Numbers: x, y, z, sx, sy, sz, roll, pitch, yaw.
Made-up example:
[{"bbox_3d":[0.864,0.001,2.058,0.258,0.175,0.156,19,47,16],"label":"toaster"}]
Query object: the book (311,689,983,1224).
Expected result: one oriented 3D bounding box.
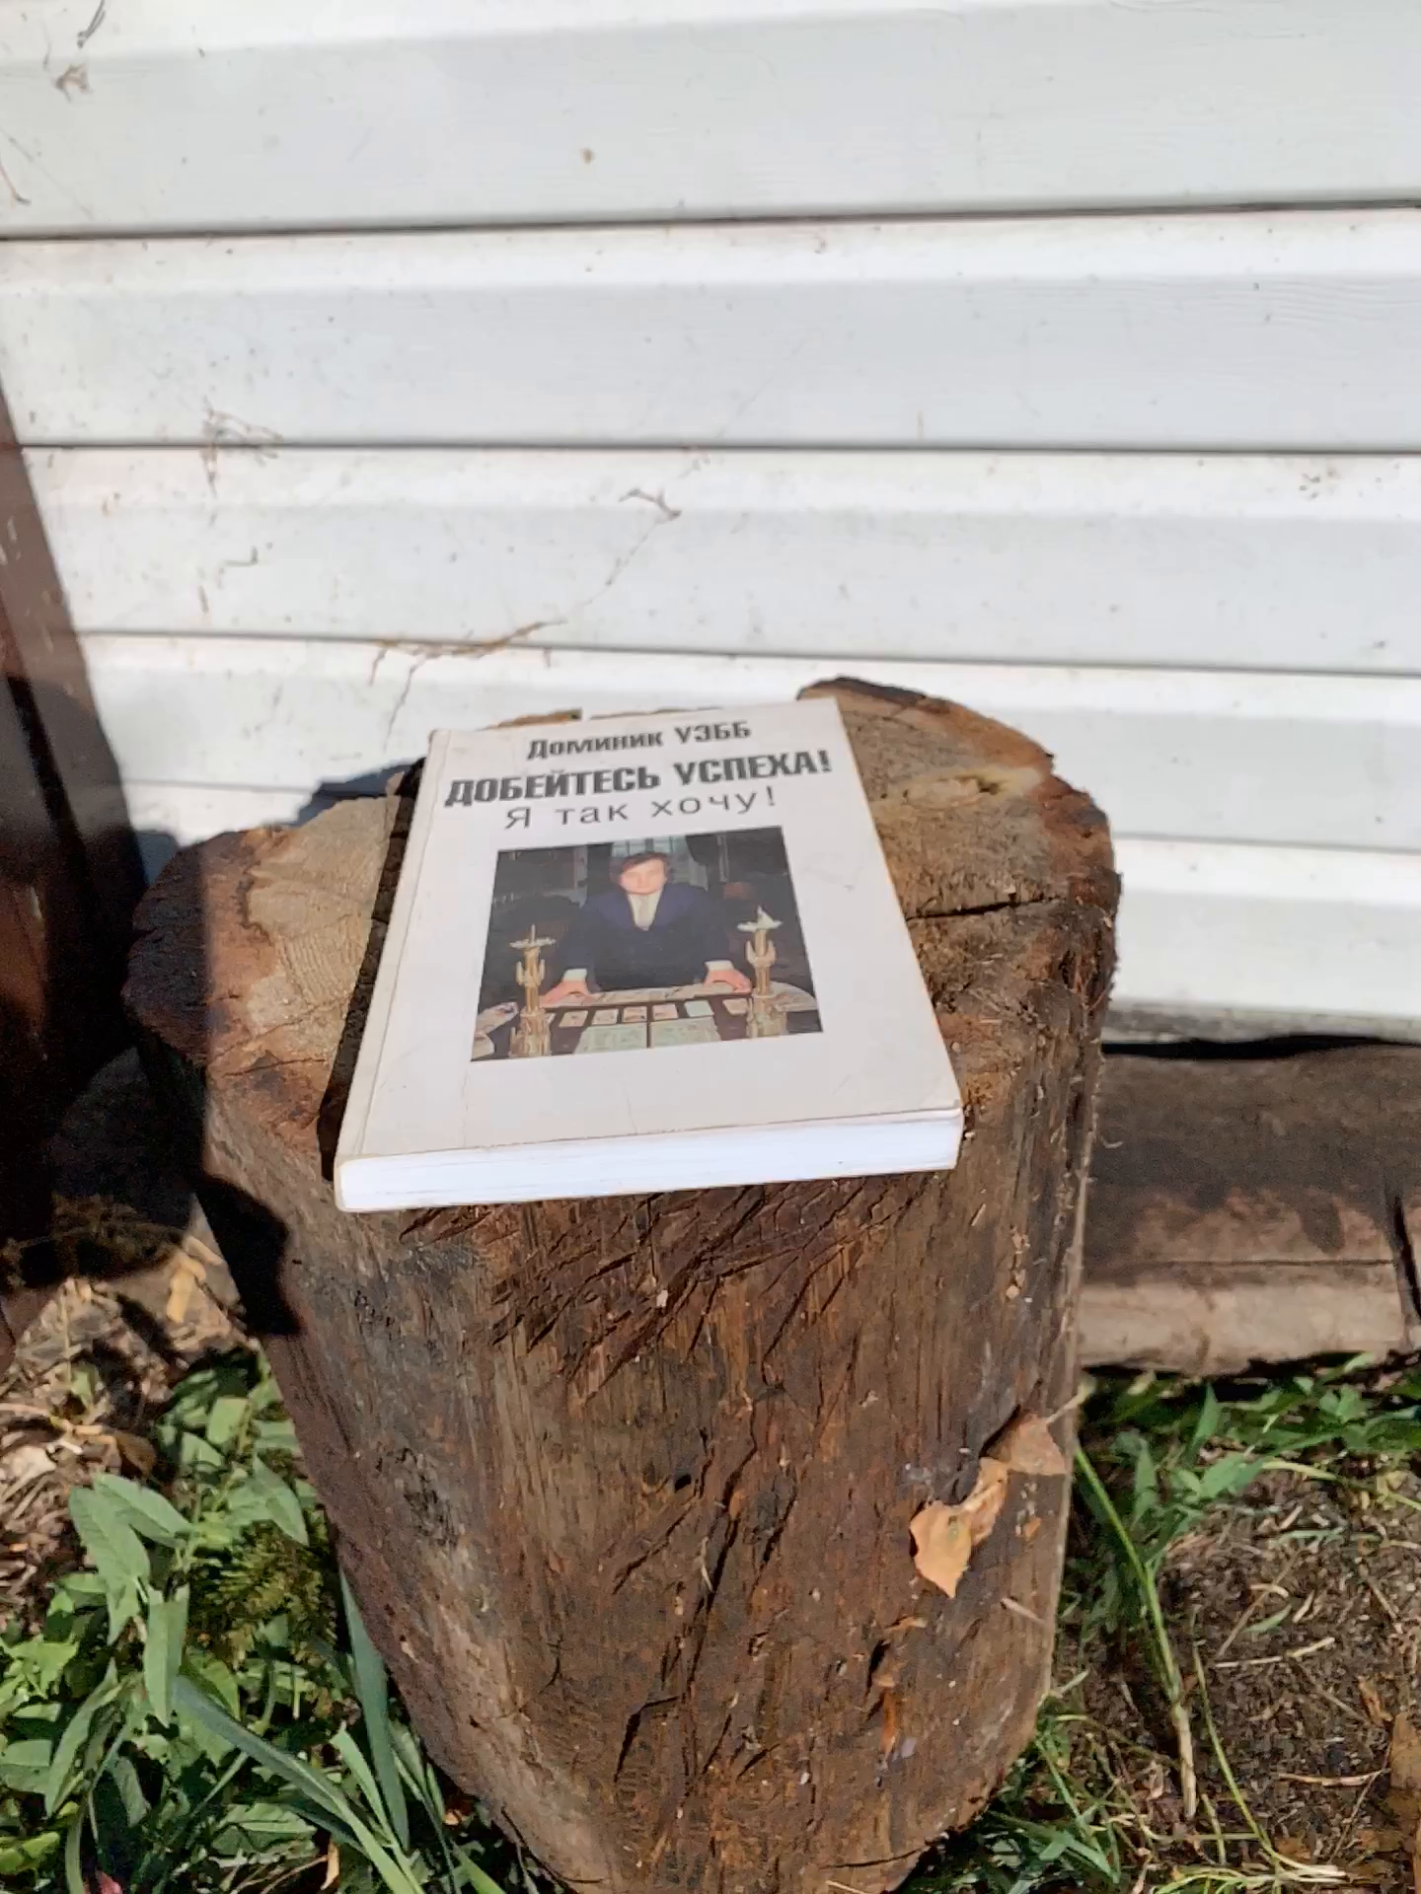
[{"bbox_3d":[-0.018,-0.013,0.398,0.139,0.020,0.211,-5,33,-1],"label":"book"}]
